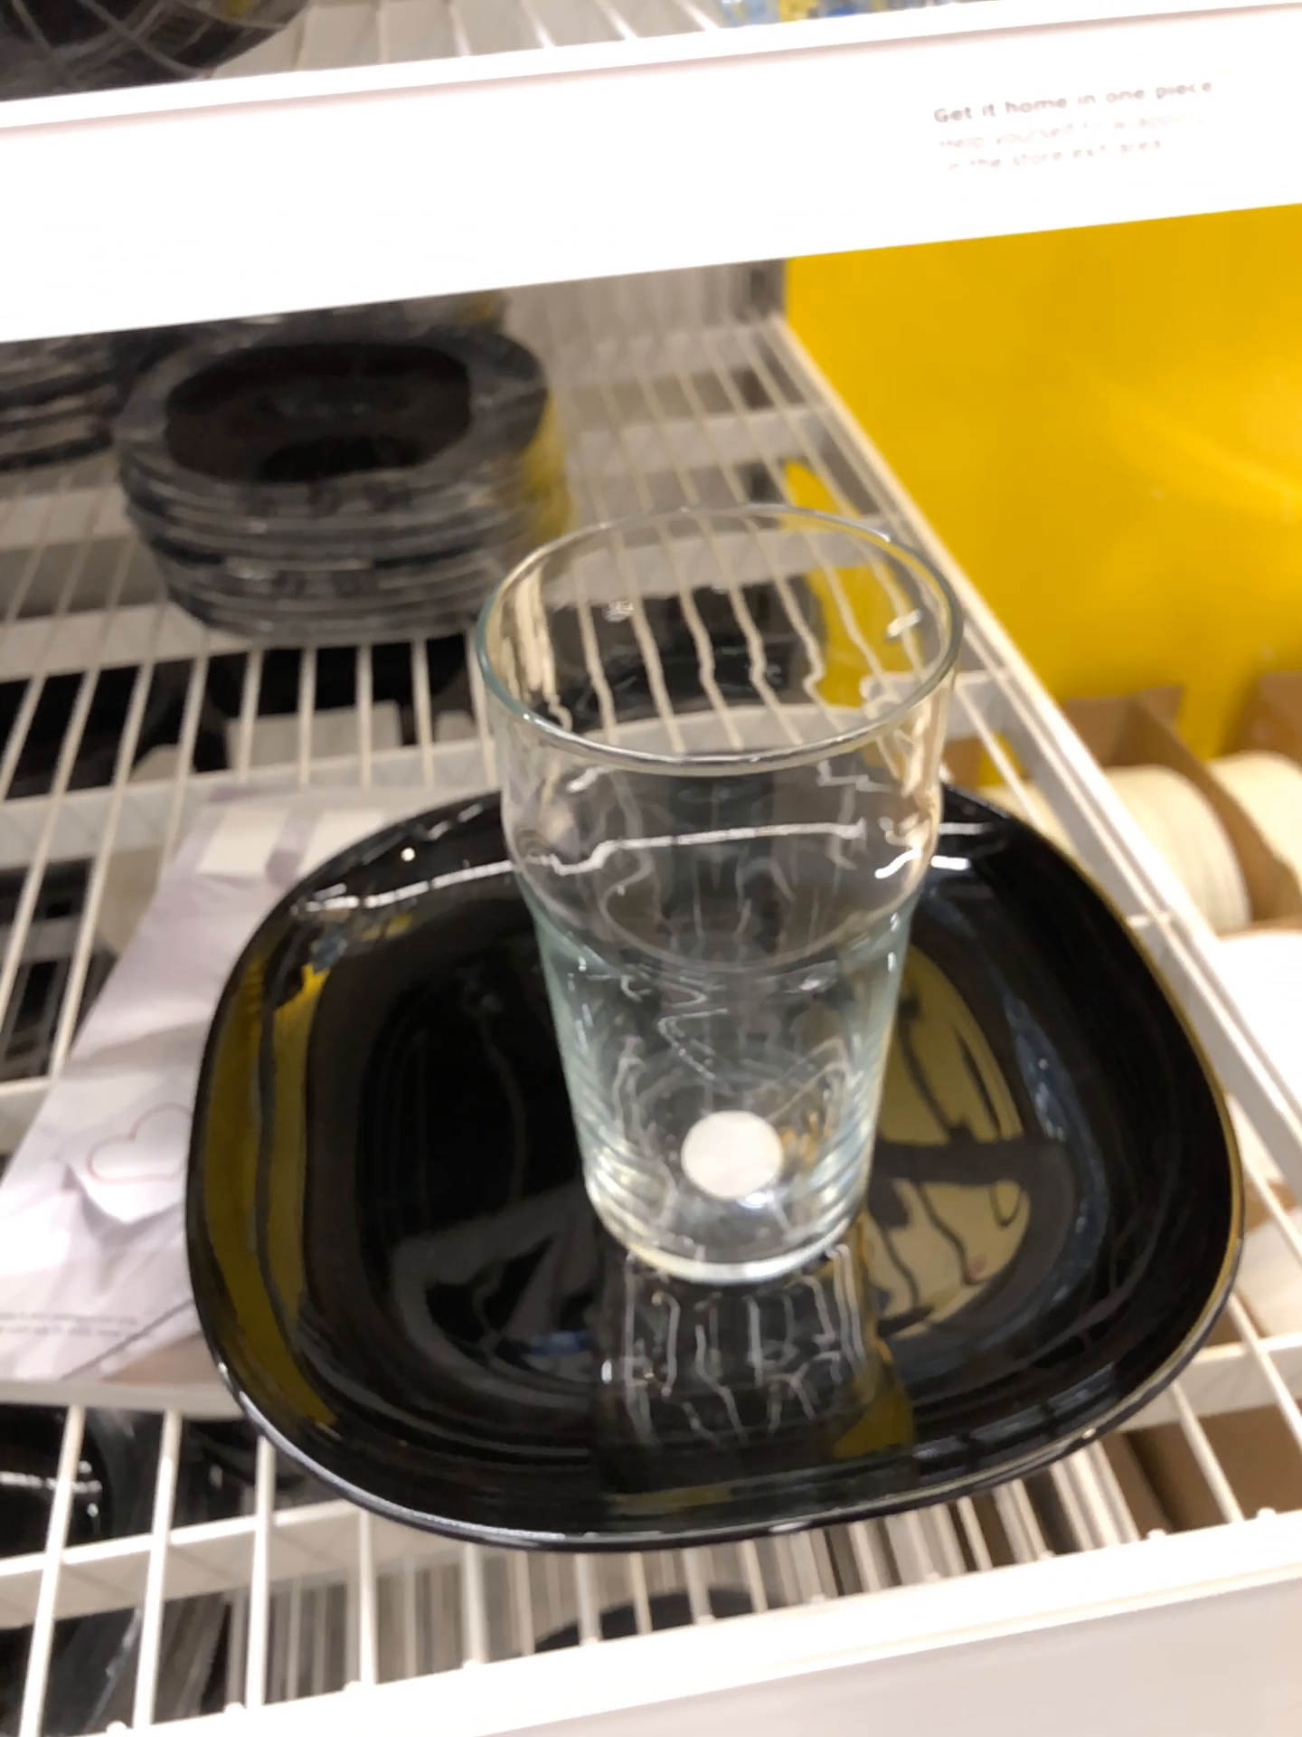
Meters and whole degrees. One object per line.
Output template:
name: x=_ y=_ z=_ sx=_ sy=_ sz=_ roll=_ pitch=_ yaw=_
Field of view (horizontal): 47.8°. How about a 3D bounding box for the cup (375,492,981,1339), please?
cup: x=0.012 y=0.010 z=0.294 sx=0.090 sy=0.139 sz=0.090 roll=-2 pitch=37 yaw=2
